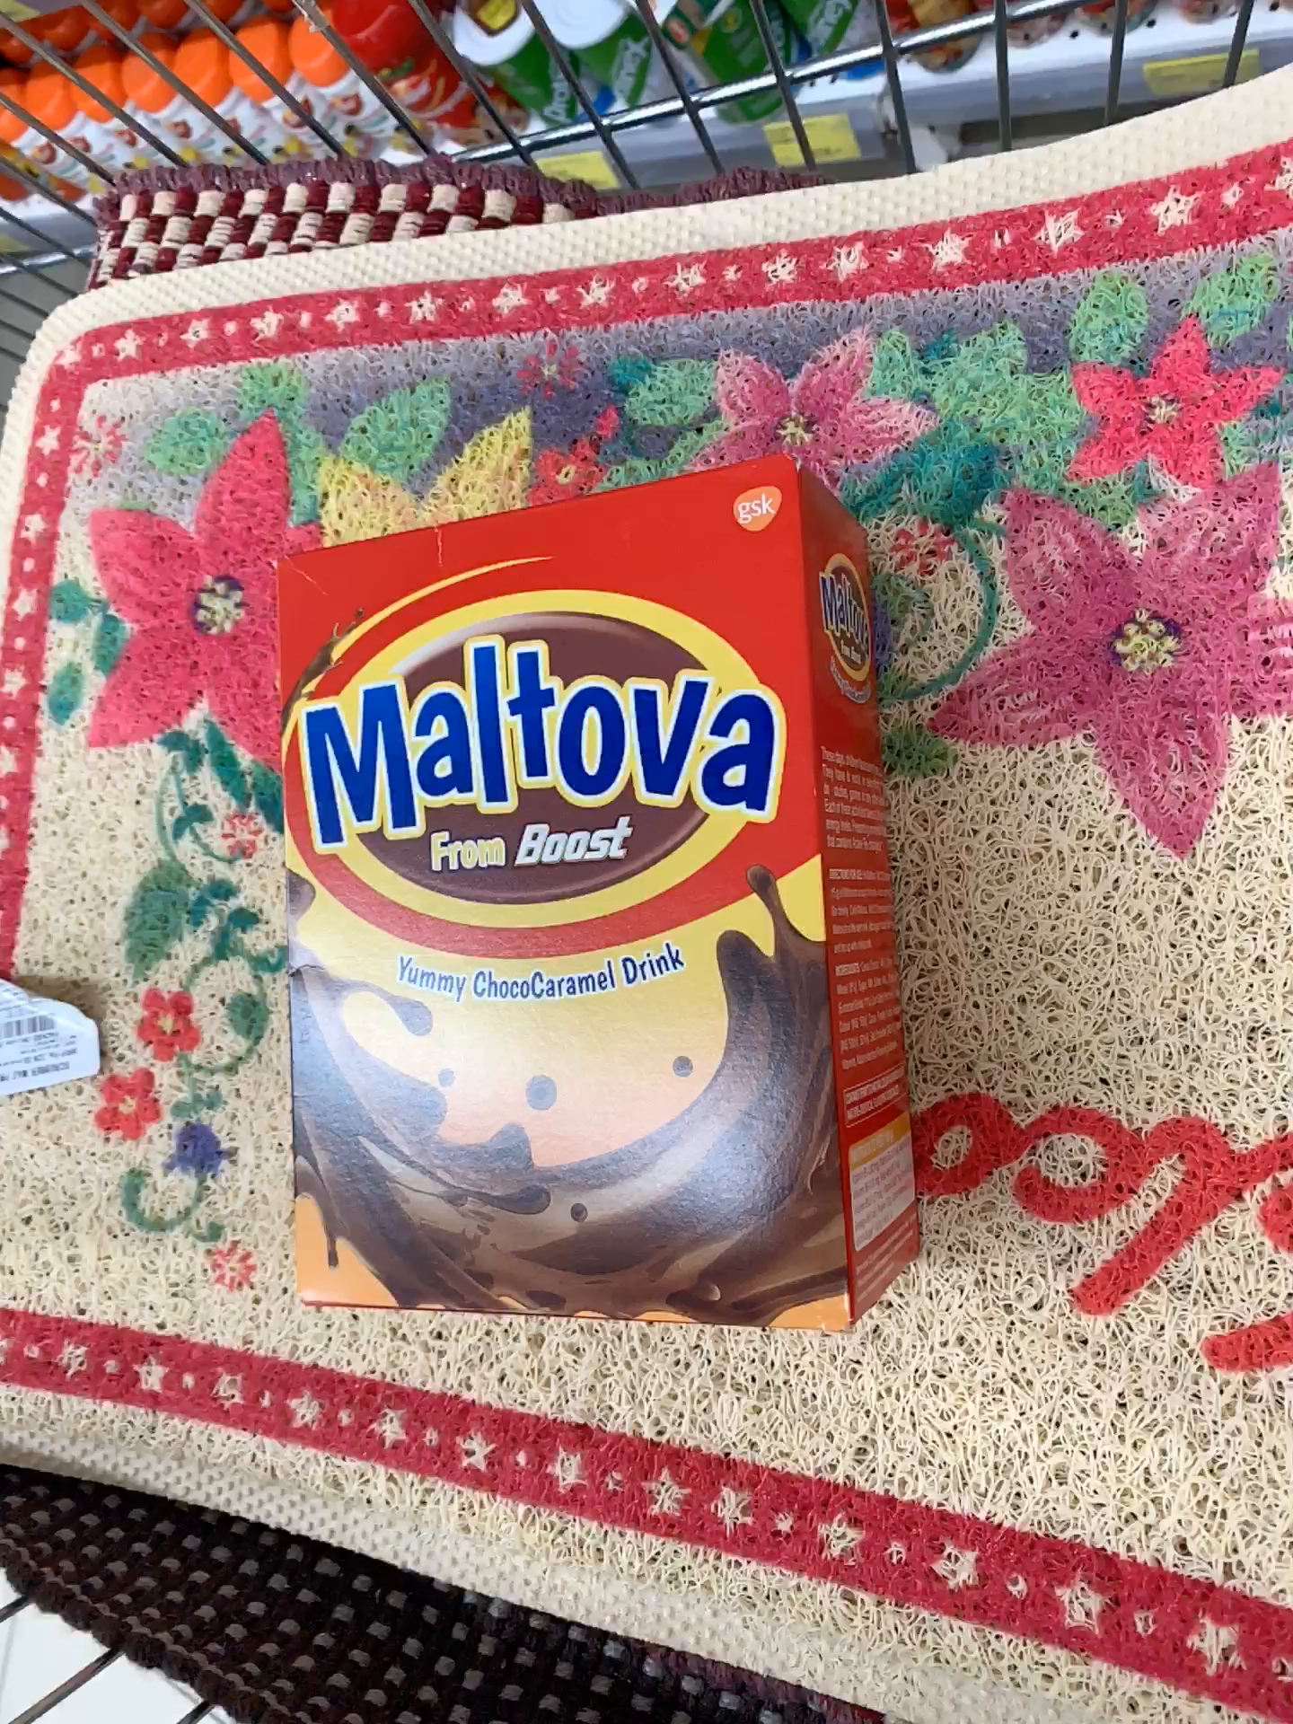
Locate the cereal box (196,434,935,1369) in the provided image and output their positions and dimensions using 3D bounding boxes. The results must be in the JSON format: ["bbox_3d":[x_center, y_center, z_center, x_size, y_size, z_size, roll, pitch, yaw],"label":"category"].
[{"bbox_3d":[-0.022,0.012,0.296,0.151,0.050,0.170,-5,85,25],"label":"cereal box"}]
